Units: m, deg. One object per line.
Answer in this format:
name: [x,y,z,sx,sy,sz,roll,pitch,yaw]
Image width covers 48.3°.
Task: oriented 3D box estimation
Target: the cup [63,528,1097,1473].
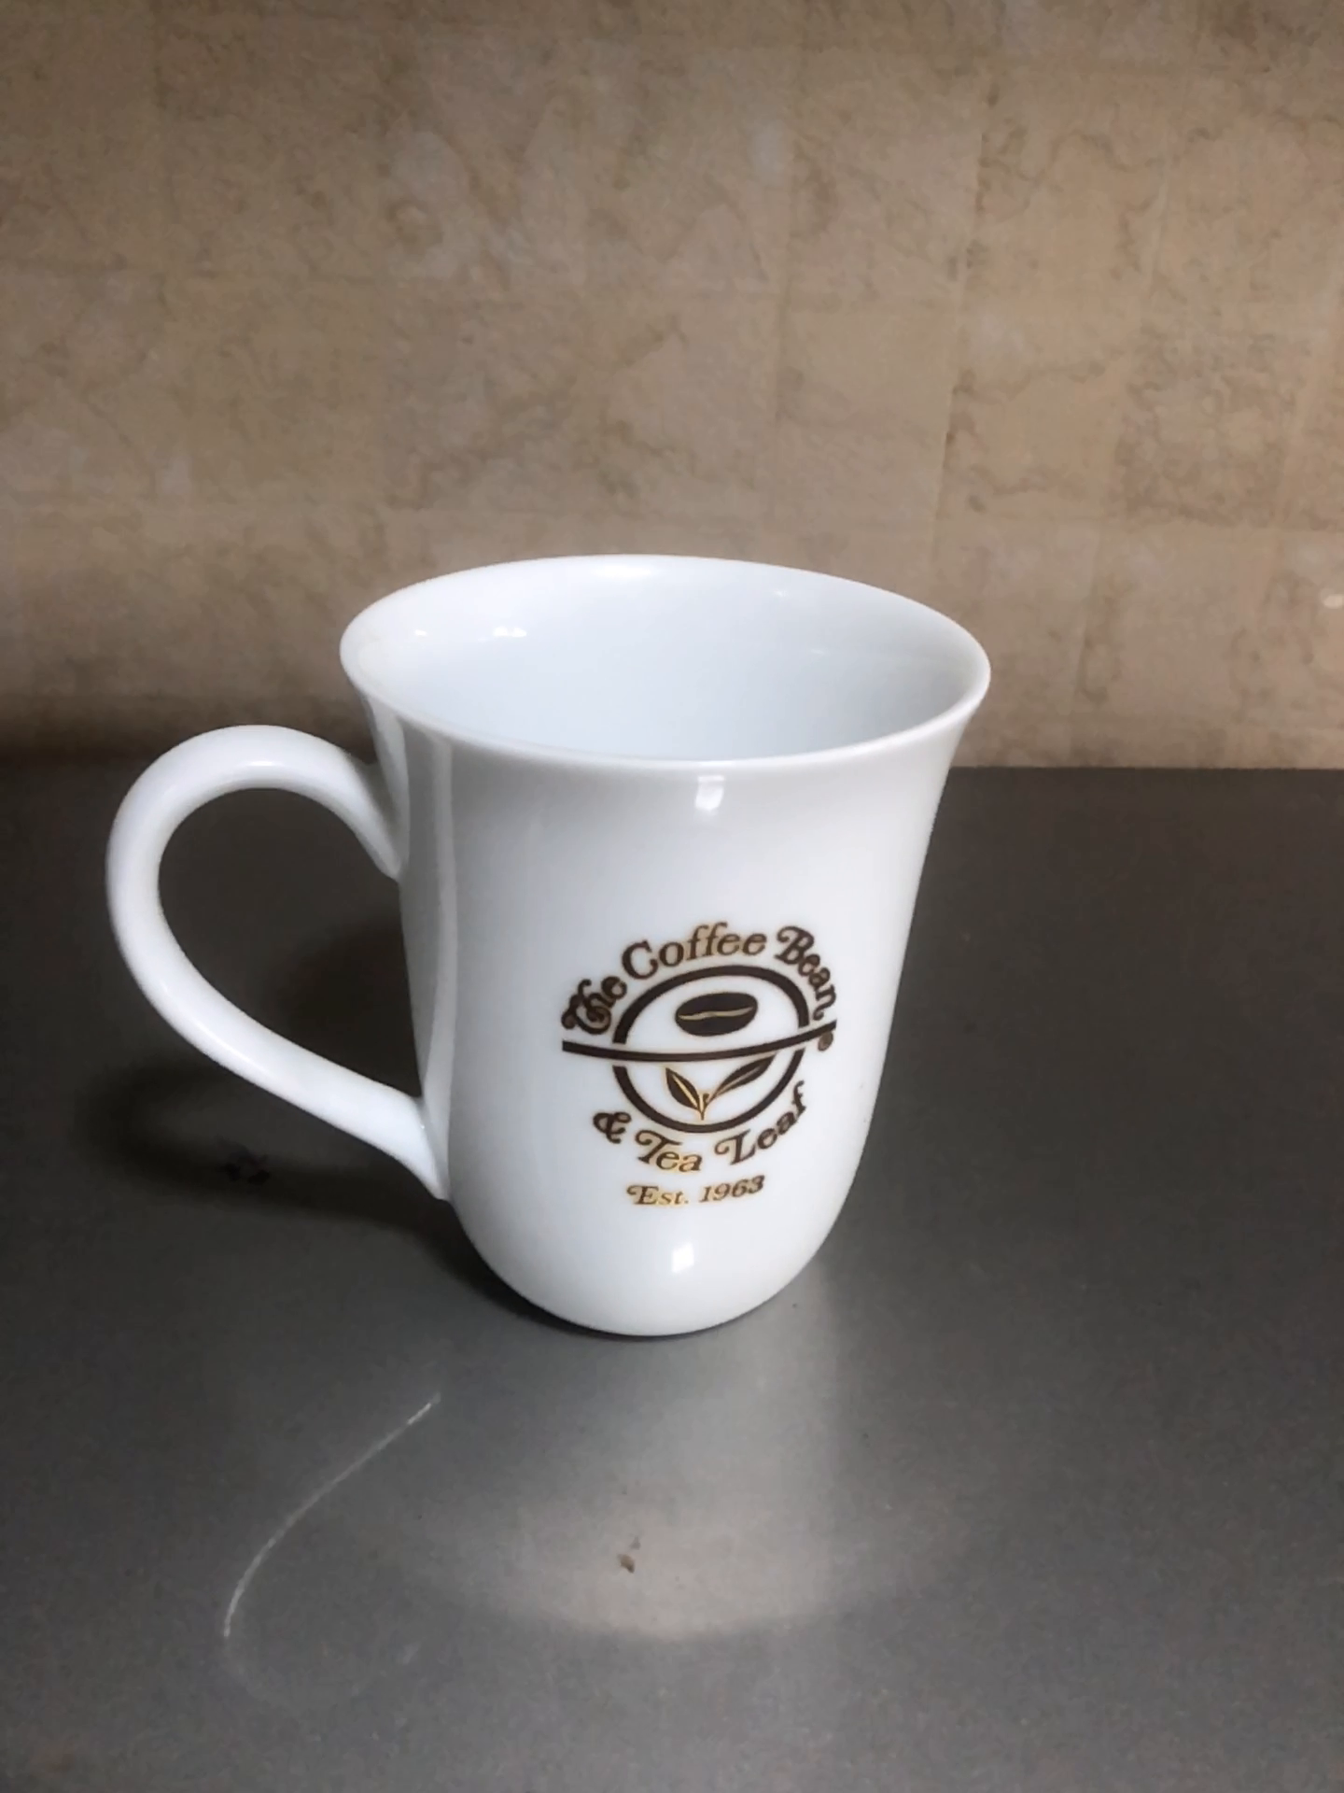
cup: [-0.021,0.007,0.246,0.130,0.109,0.091,-6,28,-16]
